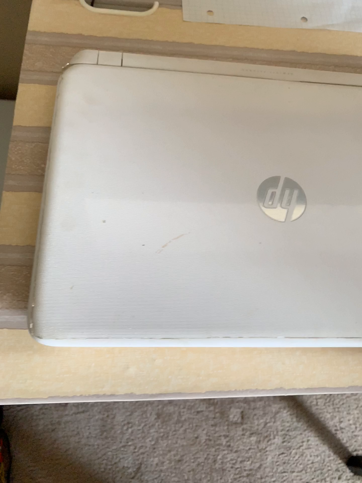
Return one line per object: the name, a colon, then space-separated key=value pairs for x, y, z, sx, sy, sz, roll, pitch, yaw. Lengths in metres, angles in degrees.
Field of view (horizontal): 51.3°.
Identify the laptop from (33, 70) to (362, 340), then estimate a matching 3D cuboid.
laptop: x=0.081 y=-0.037 z=0.312 sx=0.363 sy=0.002 sz=0.229 roll=2 pitch=70 yaw=-5
